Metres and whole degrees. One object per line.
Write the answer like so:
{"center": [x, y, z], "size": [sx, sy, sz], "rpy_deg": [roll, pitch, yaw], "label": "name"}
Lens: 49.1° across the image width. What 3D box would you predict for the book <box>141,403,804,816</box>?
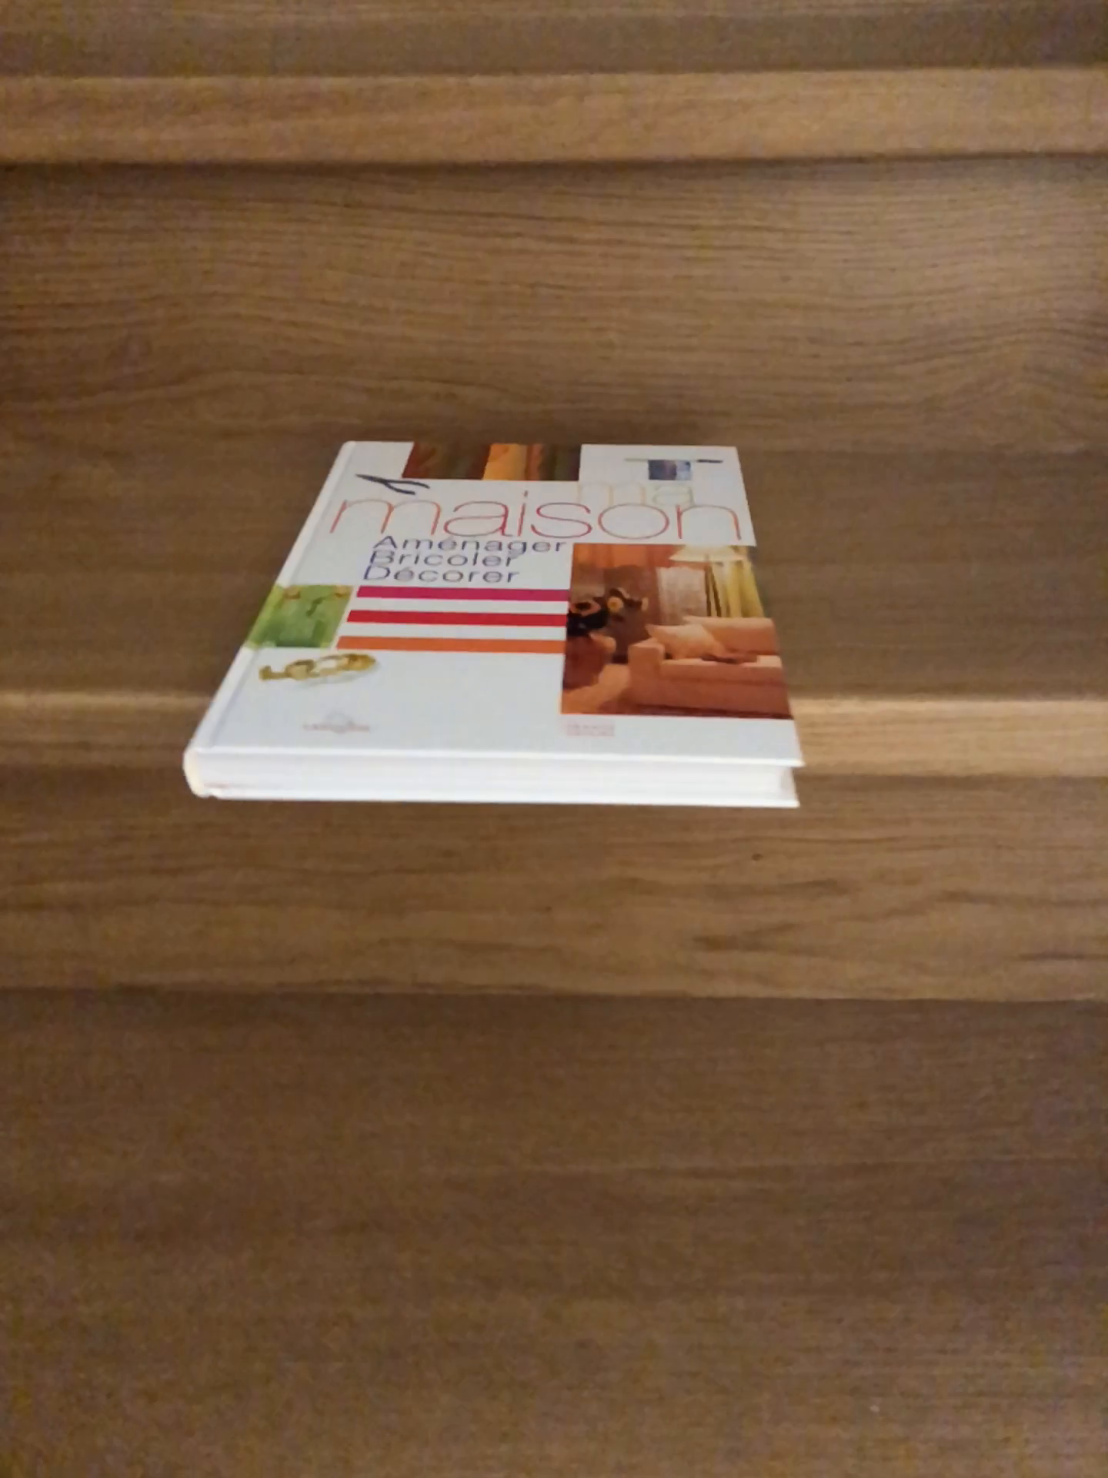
{"center": [-0.021, -0.076, 0.520], "size": [0.210, 0.030, 0.312], "rpy_deg": [0, 34, 2], "label": "book"}
